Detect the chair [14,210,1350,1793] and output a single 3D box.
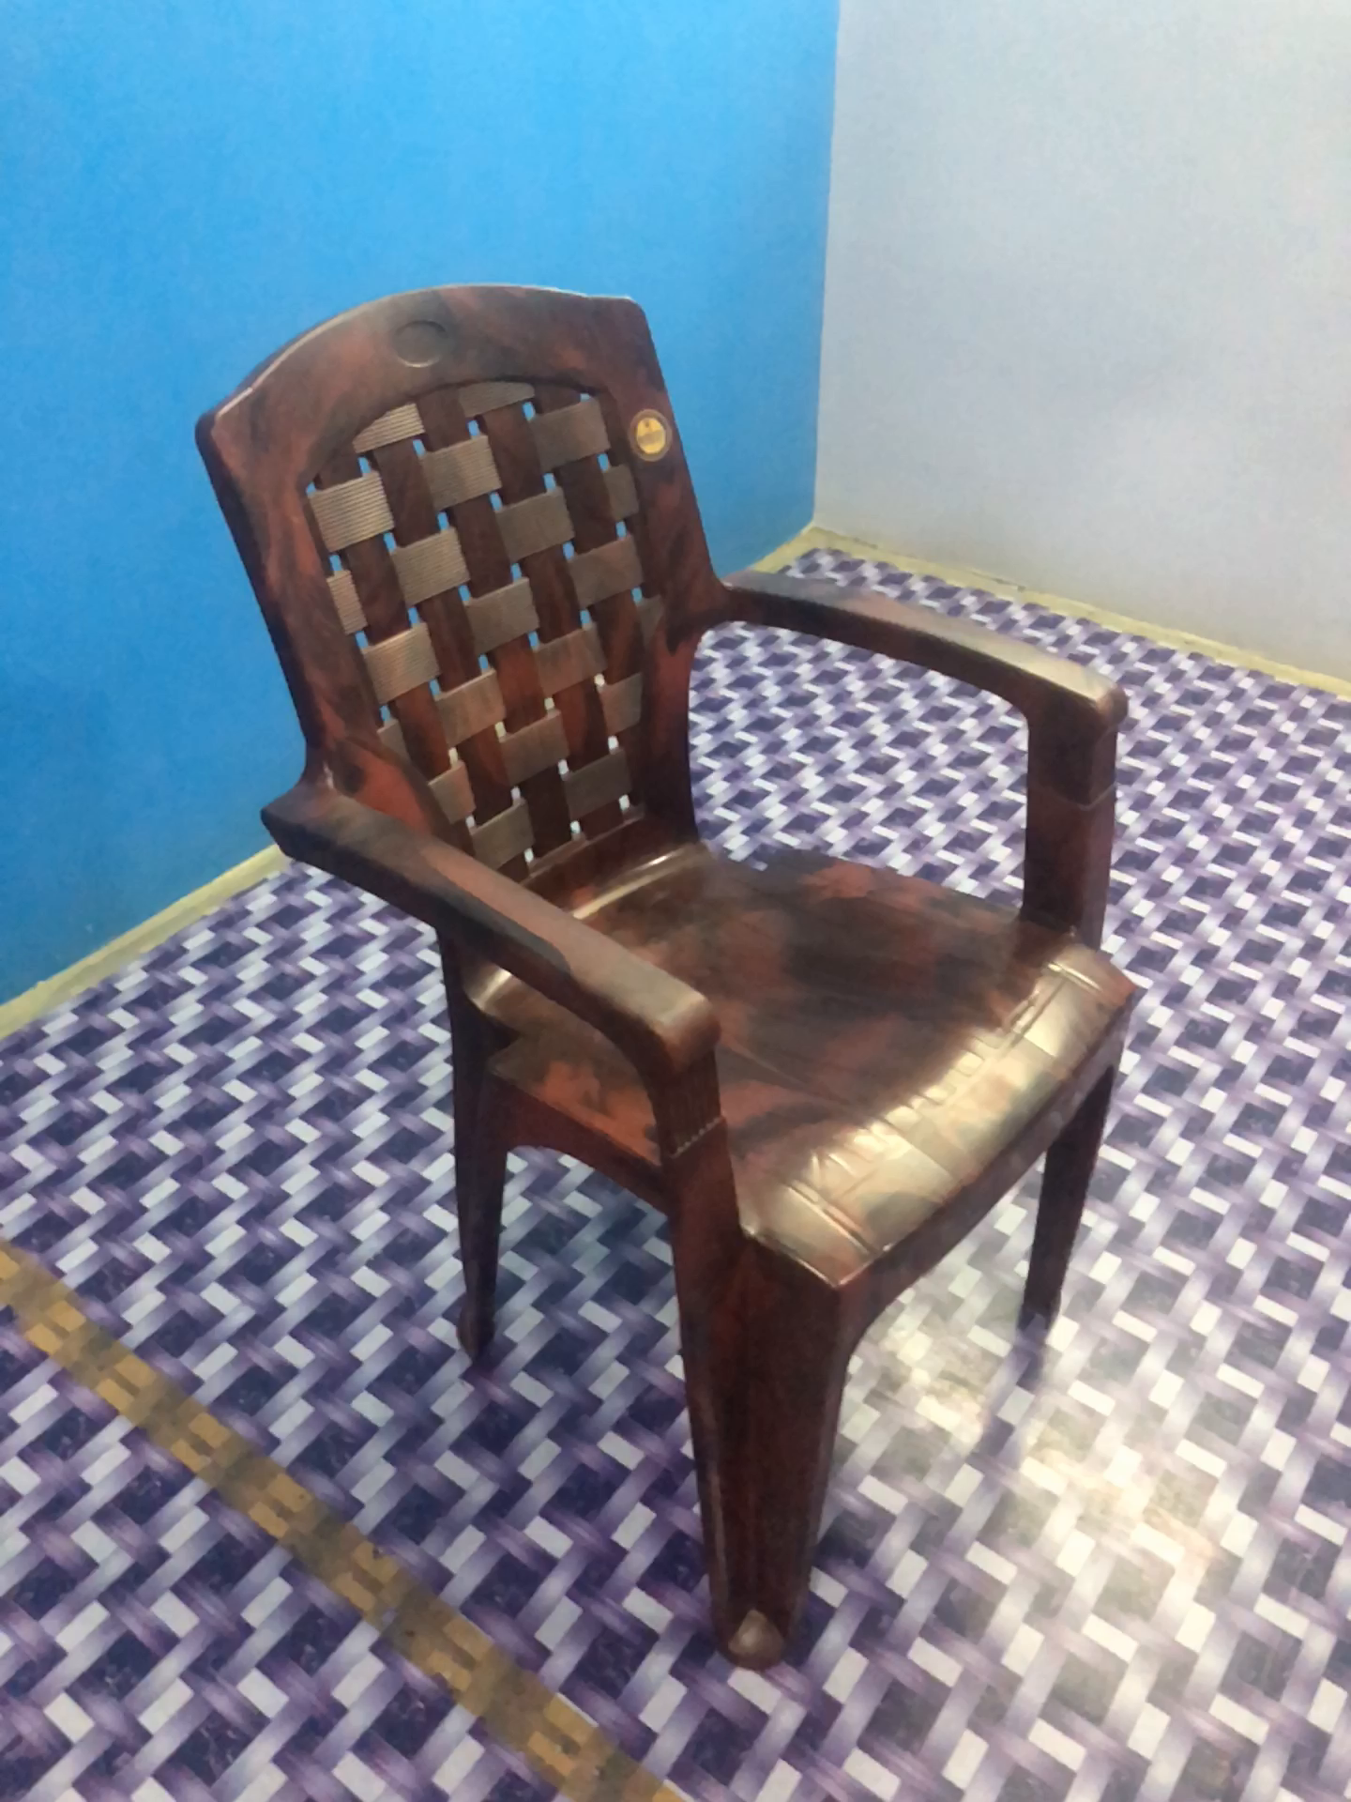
[{"bbox_3d":[0.038,0.024,1.115,0.590,0.845,0.593,26,43,32],"label":"chair"}]
